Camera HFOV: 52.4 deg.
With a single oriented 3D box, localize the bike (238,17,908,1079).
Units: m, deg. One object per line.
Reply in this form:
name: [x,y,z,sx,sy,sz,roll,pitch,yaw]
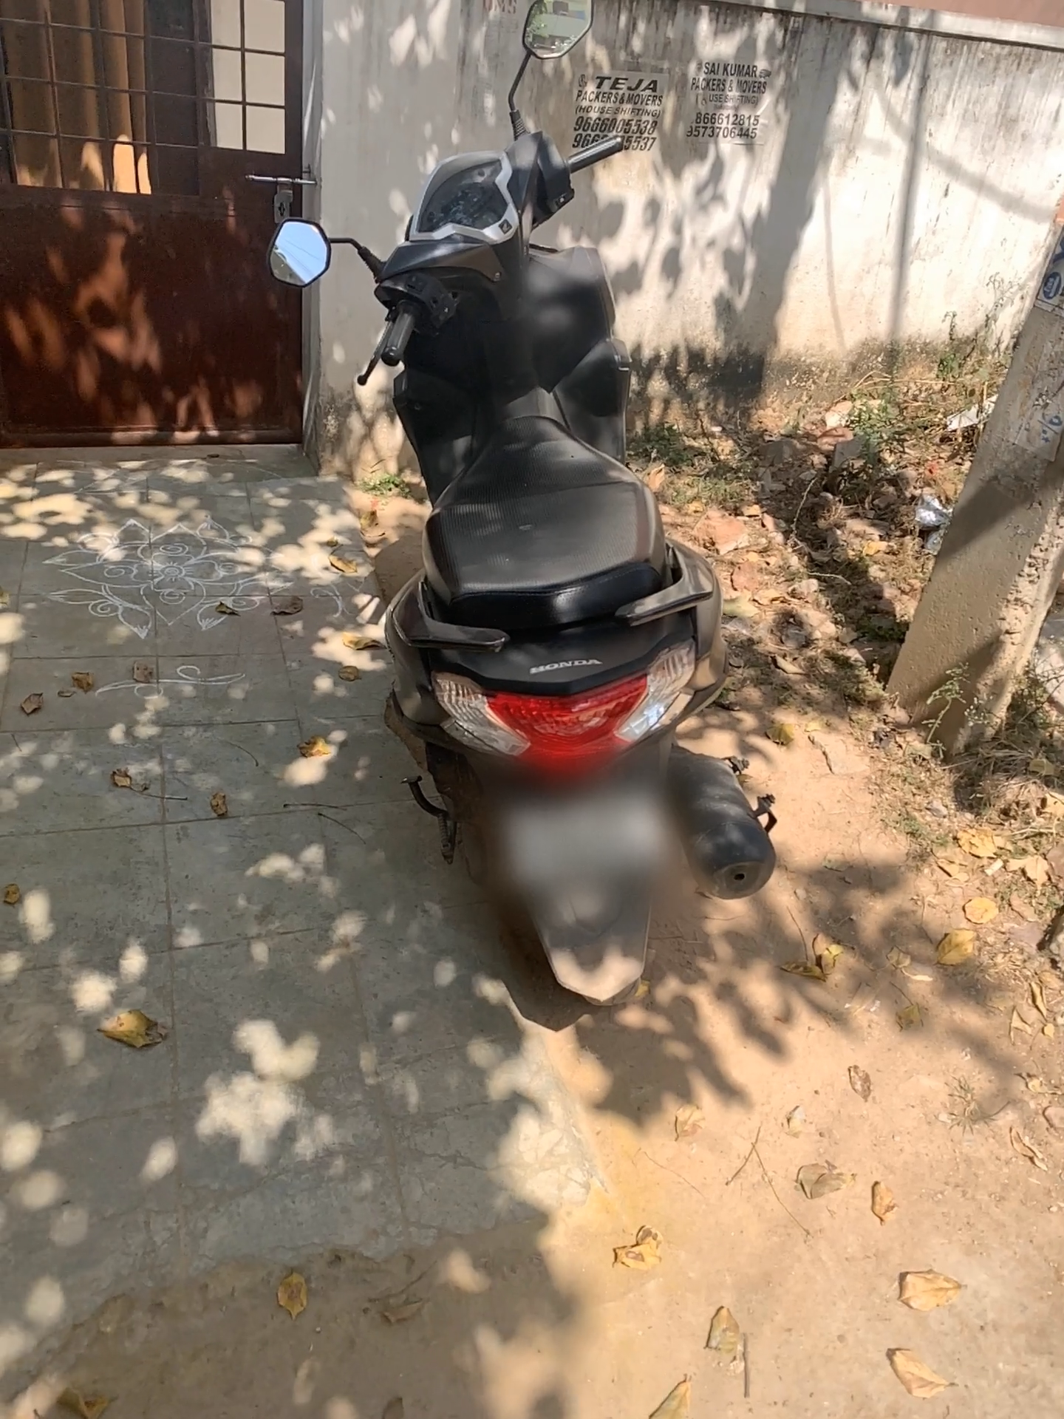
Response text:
bike: [-0.170,-0.404,1.920,0.606,1.176,1.515,-1,35,-15]
